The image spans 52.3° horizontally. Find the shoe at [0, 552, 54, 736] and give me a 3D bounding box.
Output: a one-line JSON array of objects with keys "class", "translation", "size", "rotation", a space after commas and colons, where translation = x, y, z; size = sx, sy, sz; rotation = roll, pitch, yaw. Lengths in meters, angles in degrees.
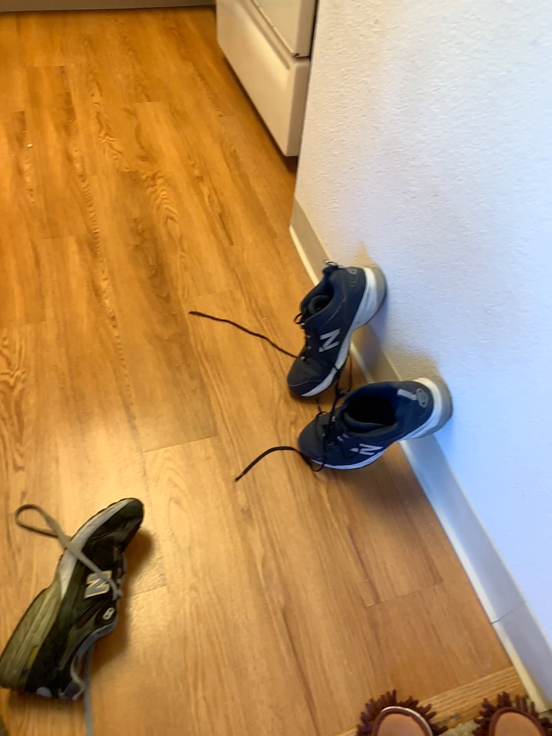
[{"class": "shoe", "translation": [-0.487, 0.464, 0.856], "size": [0.120, 0.169, 0.301], "rotation": [-33, 62, -28]}]

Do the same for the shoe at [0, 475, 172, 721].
[{"class": "shoe", "translation": [-0.284, 0.329, 0.837], "size": [0.110, 0.110, 0.301], "rotation": [16, 51, 15]}]

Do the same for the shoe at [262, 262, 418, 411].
[{"class": "shoe", "translation": [0.130, -0.071, 1.185], "size": [0.180, 0.259, 0.150], "rotation": [-11, 48, -48]}]

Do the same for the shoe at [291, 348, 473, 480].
[{"class": "shoe", "translation": [0.156, 0.079, 0.895], "size": [0.110, 0.259, 0.110], "rotation": [2, 63, -38]}]
